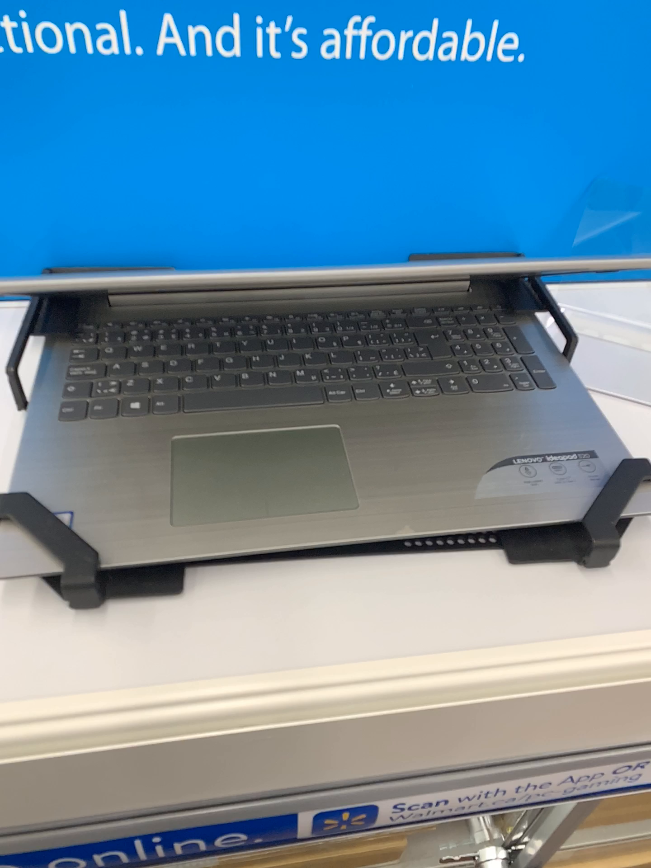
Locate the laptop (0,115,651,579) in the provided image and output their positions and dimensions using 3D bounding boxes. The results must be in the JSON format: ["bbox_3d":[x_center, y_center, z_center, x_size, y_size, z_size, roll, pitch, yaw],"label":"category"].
[{"bbox_3d":[0.000,-0.071,0.356,0.326,0.115,0.230,-4,44,-9],"label":"laptop"}]
